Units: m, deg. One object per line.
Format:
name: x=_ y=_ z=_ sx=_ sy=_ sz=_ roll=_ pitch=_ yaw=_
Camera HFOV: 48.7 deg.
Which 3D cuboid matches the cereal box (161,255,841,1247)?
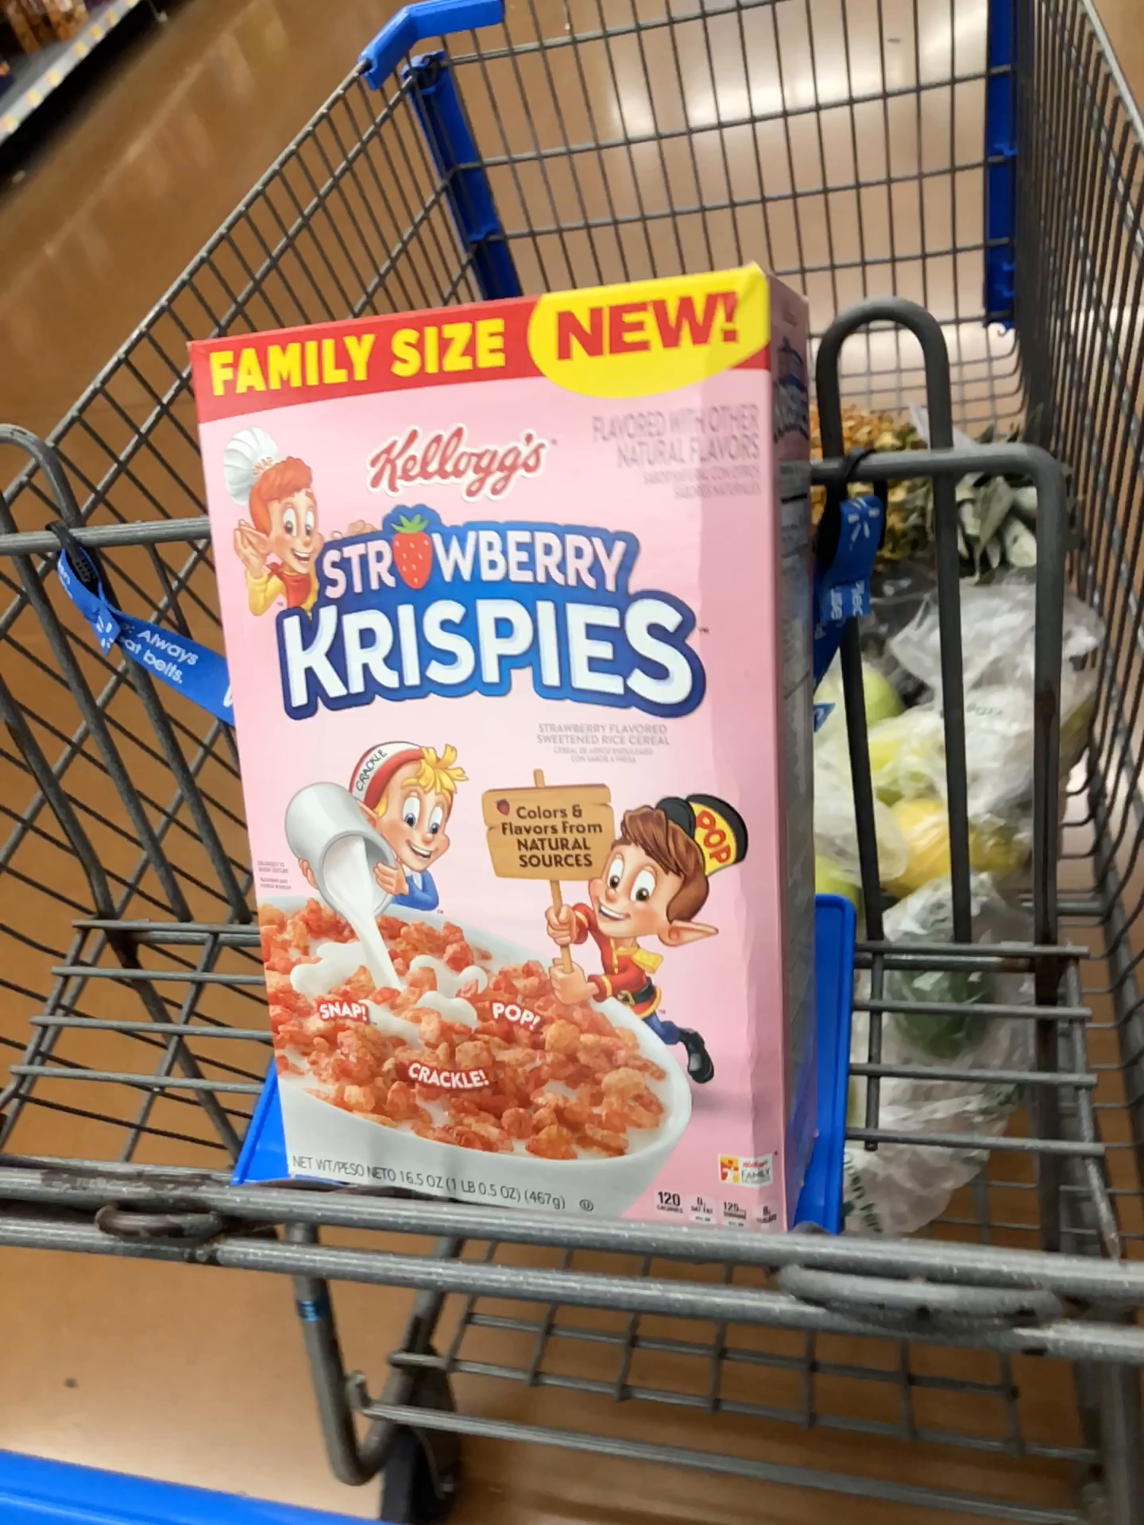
cereal box: x=-0.016 y=-0.002 z=0.433 sx=0.200 sy=0.290 sz=0.080 roll=0 pitch=11 yaw=18
